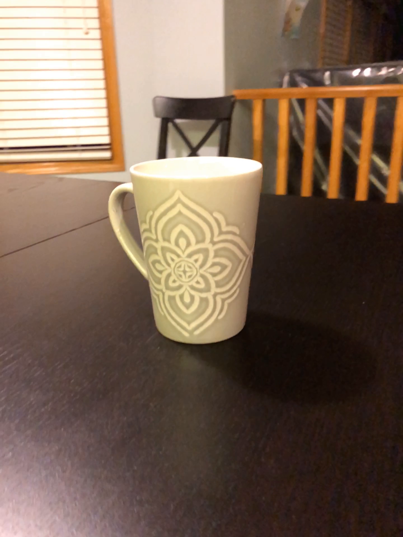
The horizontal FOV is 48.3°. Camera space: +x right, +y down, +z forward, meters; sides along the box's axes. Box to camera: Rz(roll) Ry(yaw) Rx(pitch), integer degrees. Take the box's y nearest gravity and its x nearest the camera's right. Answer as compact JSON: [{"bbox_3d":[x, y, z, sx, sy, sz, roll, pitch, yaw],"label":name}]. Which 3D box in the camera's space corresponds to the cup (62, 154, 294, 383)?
[{"bbox_3d":[-0.011,-0.012,0.337,0.130,0.129,0.100,9,22,25],"label":"cup"}]
